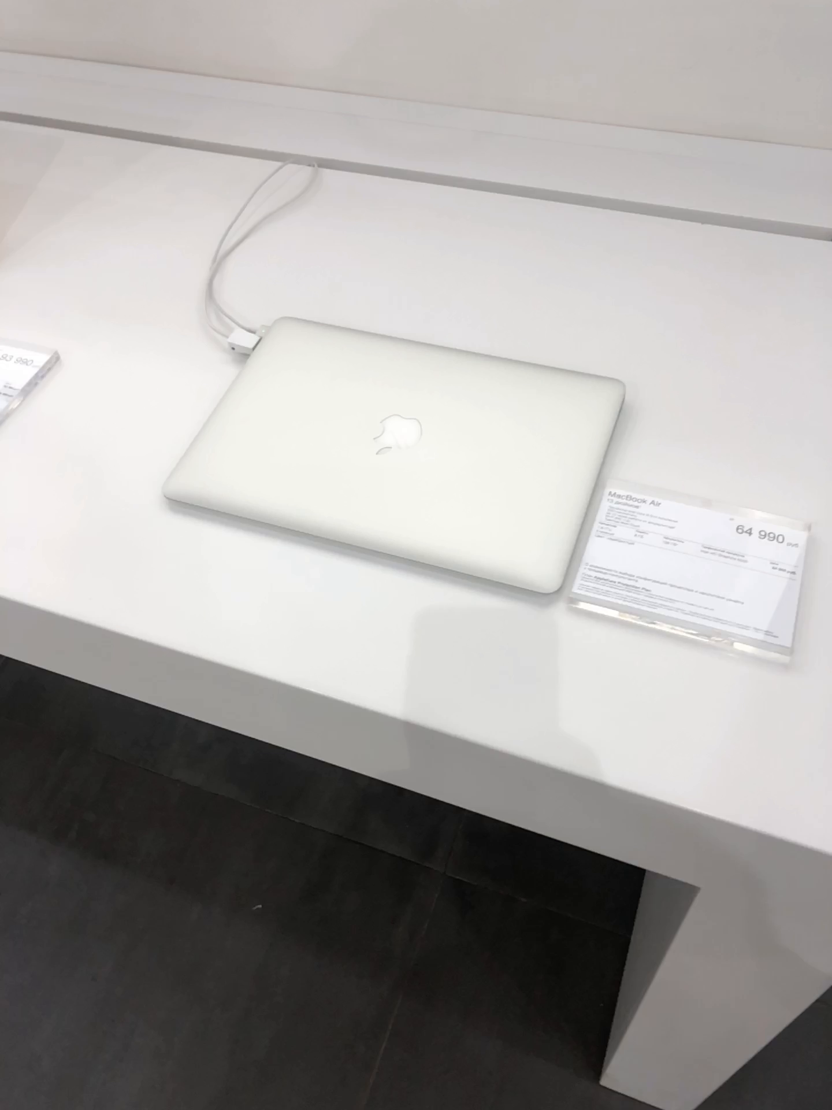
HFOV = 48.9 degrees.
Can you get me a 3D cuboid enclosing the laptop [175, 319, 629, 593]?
[{"bbox_3d":[-0.007,-0.093,0.731,0.307,0.008,0.210,15,56,16],"label":"laptop"}]
